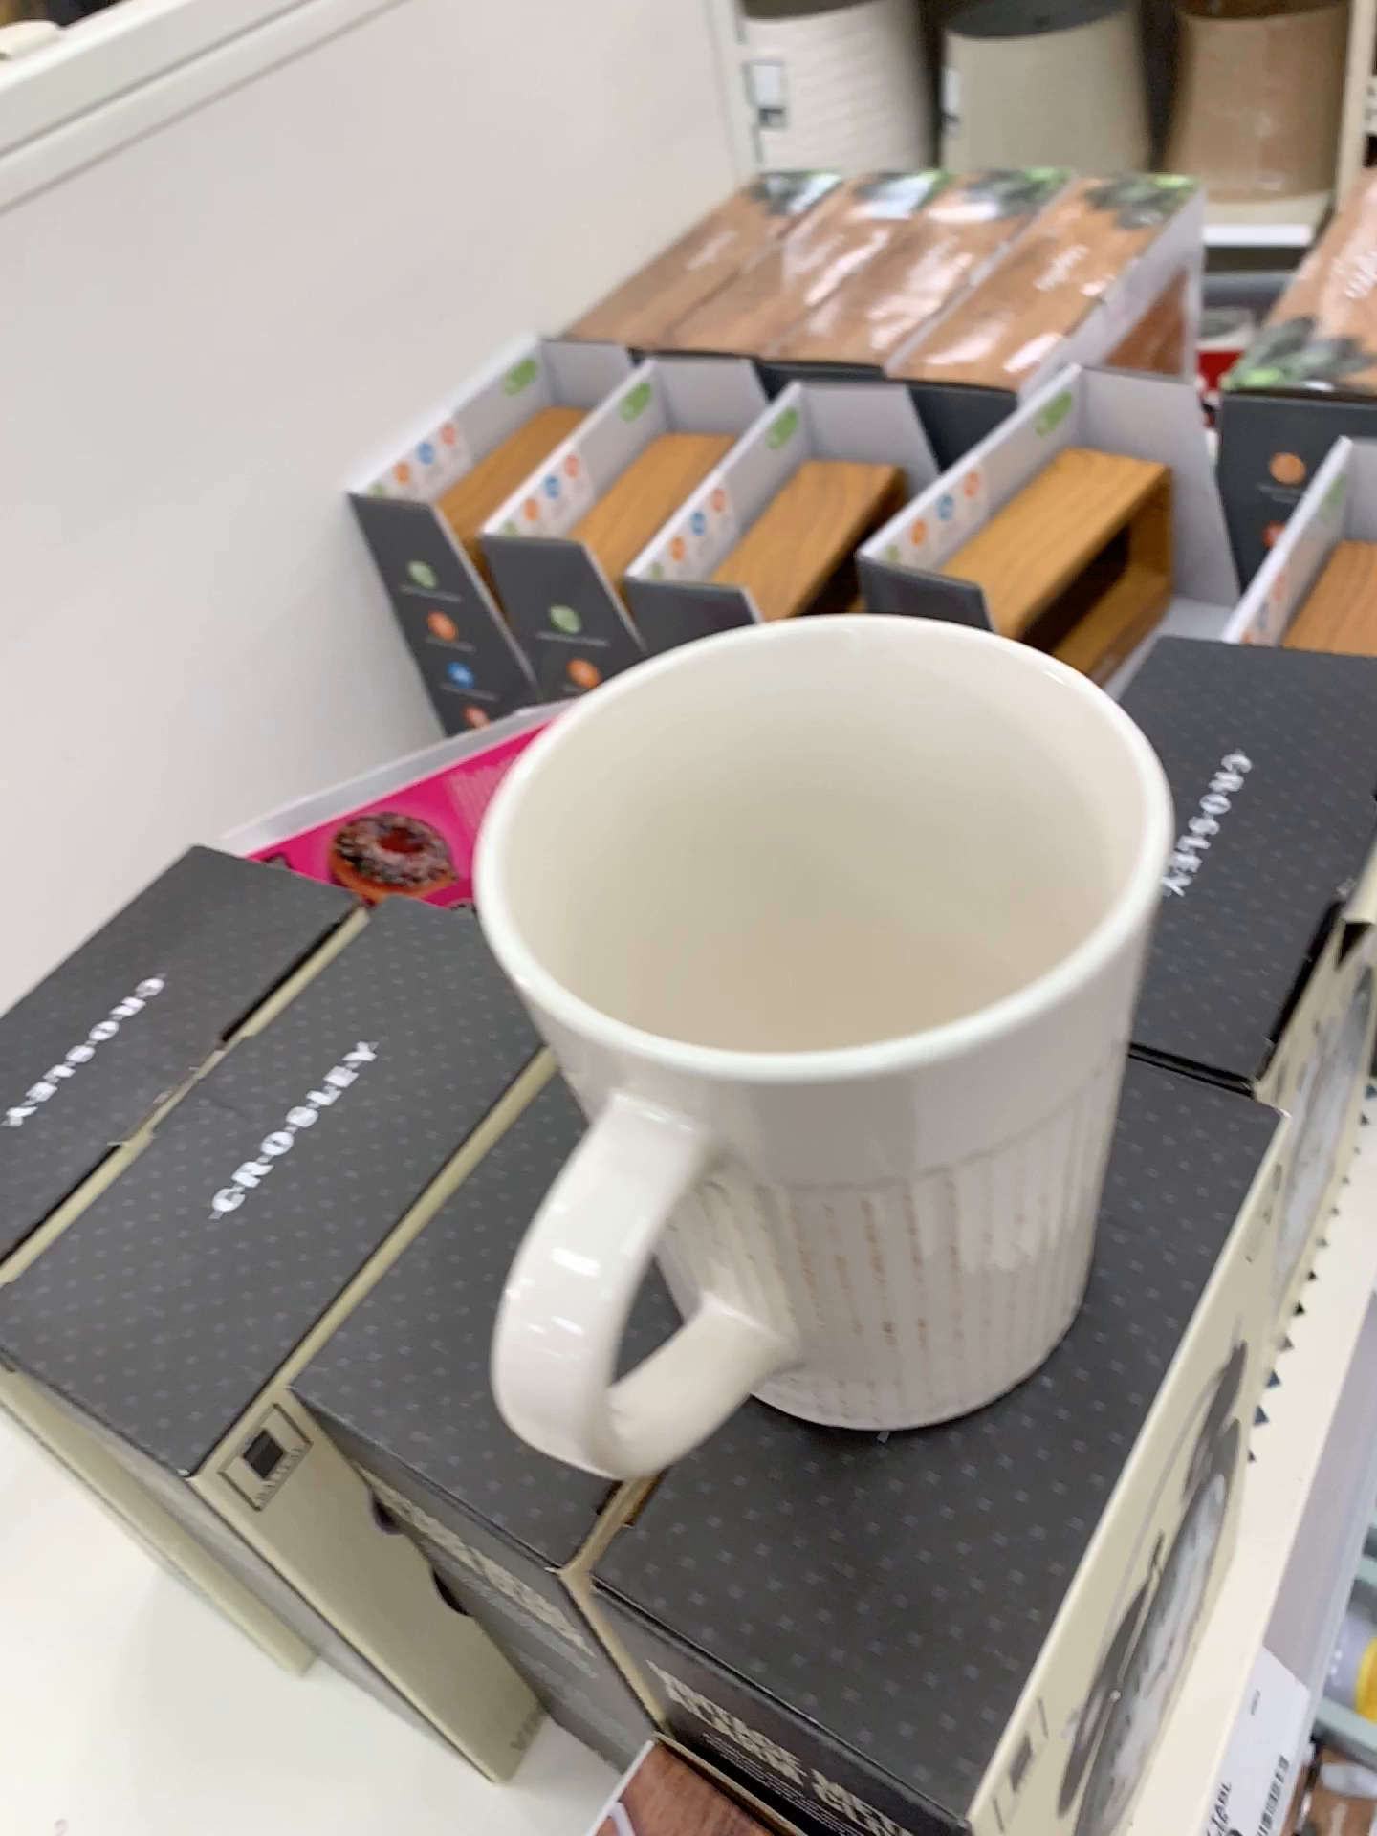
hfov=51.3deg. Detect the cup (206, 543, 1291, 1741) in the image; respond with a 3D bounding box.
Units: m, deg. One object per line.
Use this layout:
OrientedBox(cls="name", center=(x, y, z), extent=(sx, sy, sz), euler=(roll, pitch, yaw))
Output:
OrientedBox(cls="cup", center=(0.018, 0.025, 0.211), extent=(0.084, 0.099, 0.117), euler=(22, 52, 31))
